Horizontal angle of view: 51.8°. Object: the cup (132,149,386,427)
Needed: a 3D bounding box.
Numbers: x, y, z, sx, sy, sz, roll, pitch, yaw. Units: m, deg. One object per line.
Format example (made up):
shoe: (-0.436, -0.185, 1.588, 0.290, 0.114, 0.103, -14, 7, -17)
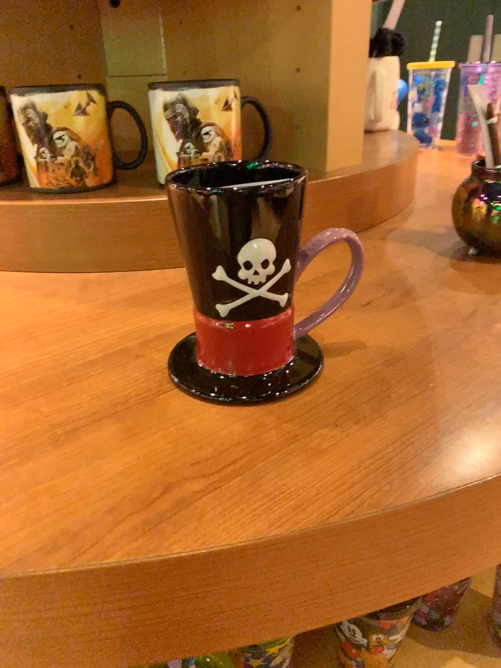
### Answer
cup: (0.000, -0.040, 0.358, 0.134, 0.144, 0.110, -9, 28, -13)
